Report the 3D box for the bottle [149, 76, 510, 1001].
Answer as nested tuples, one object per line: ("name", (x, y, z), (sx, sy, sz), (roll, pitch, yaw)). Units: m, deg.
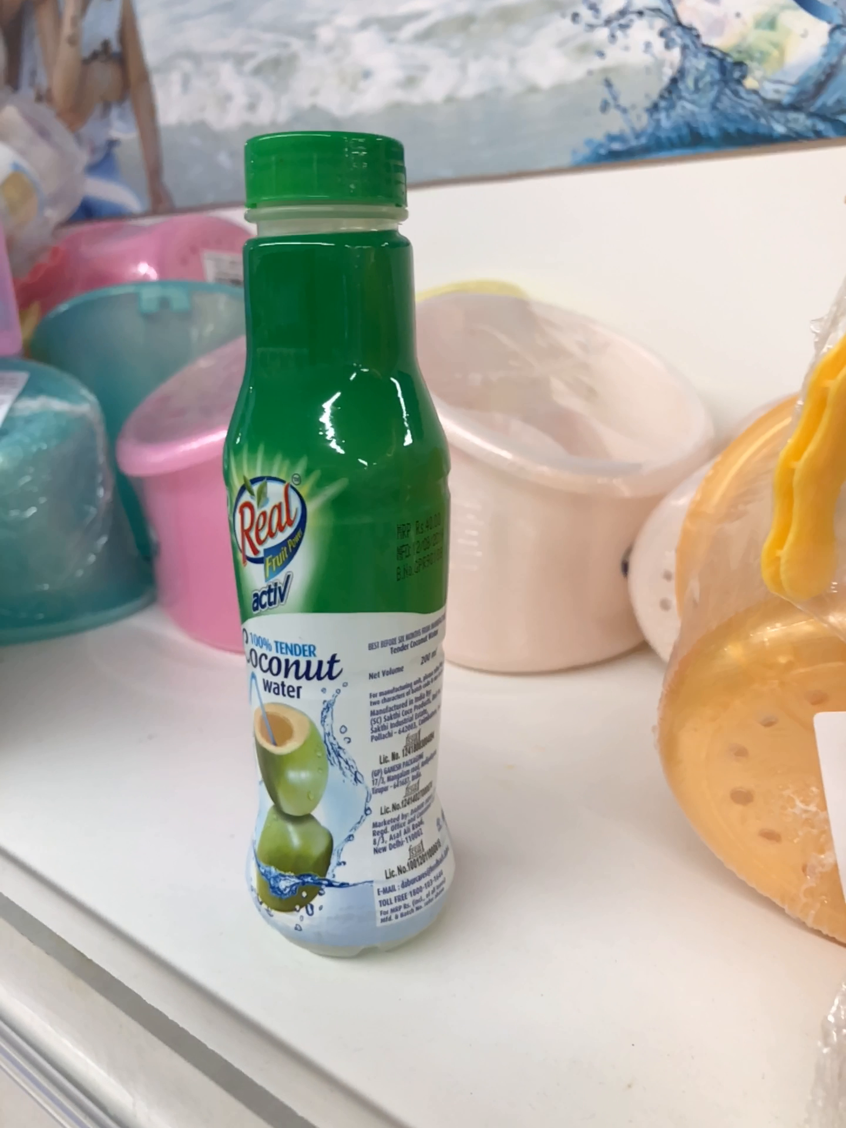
("bottle", (-0.014, -0.002, 0.211), (0.050, 0.179, 0.050), (-1, 17, 0))
